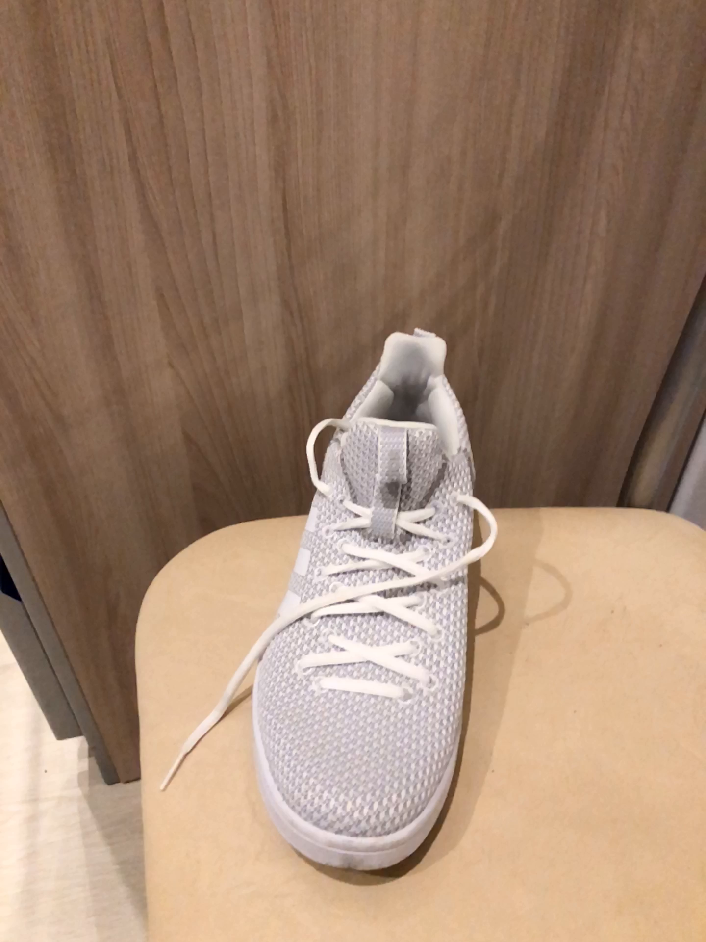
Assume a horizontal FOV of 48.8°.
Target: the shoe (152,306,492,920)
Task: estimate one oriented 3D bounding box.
[{"bbox_3d":[0.007,0.049,0.426,0.110,0.129,0.302,6,43,7],"label":"shoe"}]
